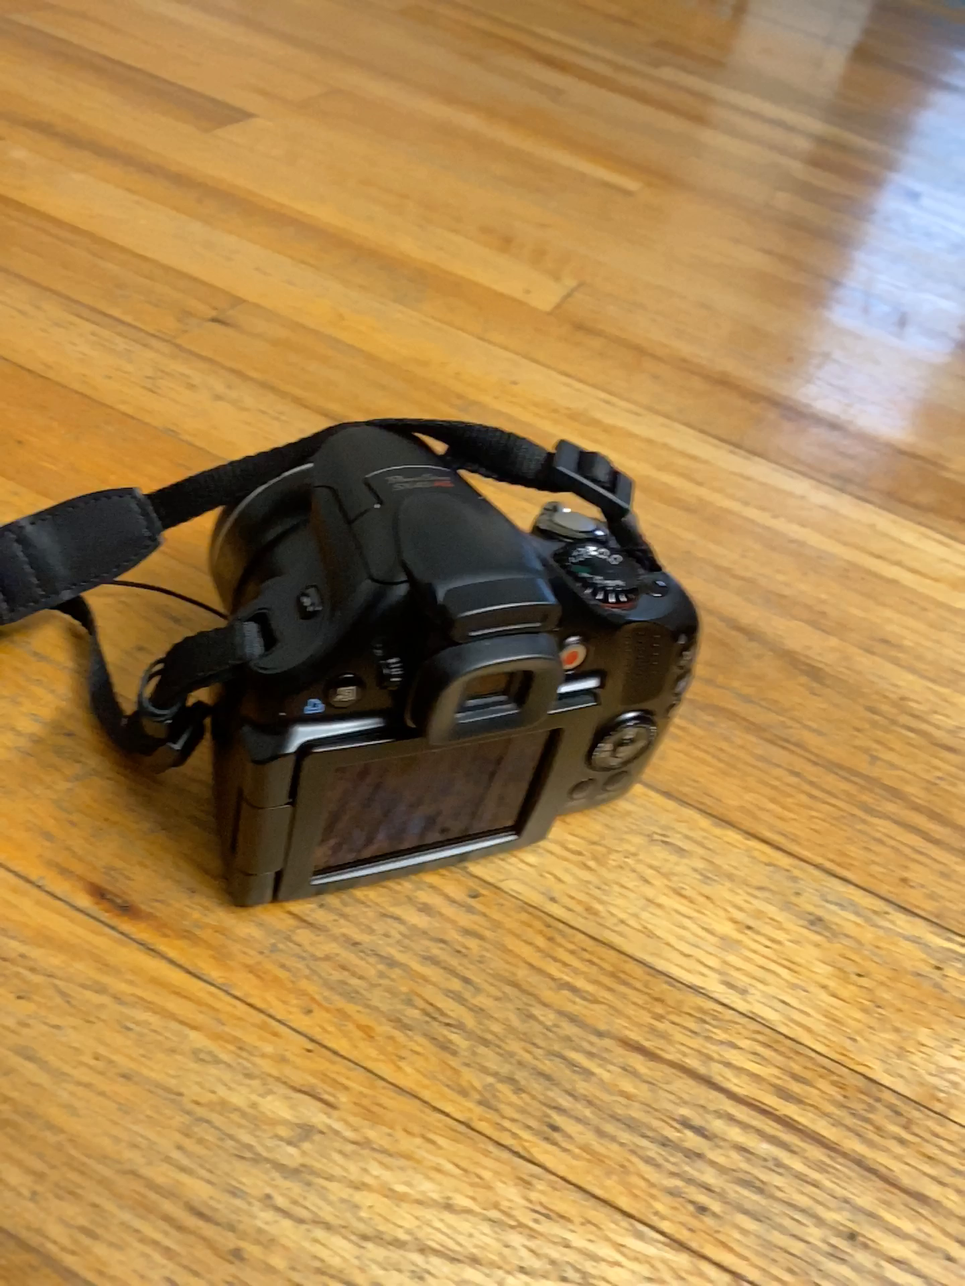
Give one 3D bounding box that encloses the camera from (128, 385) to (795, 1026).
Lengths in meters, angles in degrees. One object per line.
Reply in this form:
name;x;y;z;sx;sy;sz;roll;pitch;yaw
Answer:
camera;-0.019;0.006;0.257;0.120;0.089;0.120;-6;46;-26
